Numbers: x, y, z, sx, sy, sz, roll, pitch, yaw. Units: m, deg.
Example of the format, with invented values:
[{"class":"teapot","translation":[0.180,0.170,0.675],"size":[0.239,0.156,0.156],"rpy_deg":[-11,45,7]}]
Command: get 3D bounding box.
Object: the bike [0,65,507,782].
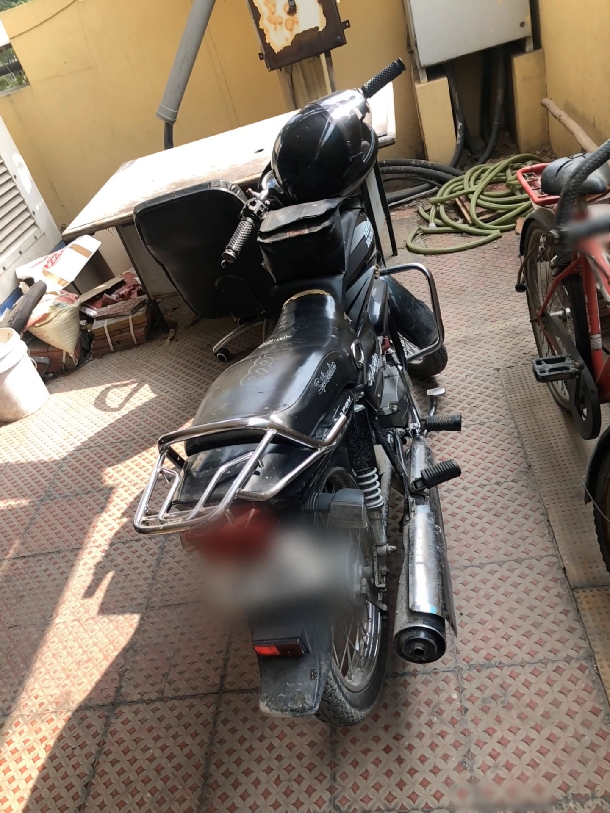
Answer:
[{"class":"bike","translation":[-0.085,-0.118,1.739],"size":[0.713,1.027,1.623],"rpy_deg":[-12,34,11]}]
